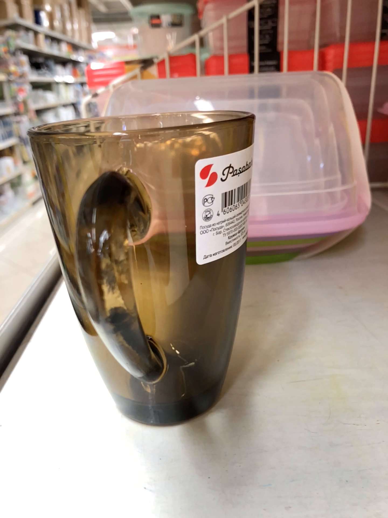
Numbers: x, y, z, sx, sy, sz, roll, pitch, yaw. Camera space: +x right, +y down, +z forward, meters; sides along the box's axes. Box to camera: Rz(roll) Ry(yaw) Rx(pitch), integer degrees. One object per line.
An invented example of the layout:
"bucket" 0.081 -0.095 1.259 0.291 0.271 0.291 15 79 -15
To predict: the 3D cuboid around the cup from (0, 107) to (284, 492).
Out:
"cup" -0.021 -0.003 0.164 0.072 0.096 0.112 -8 20 -8
